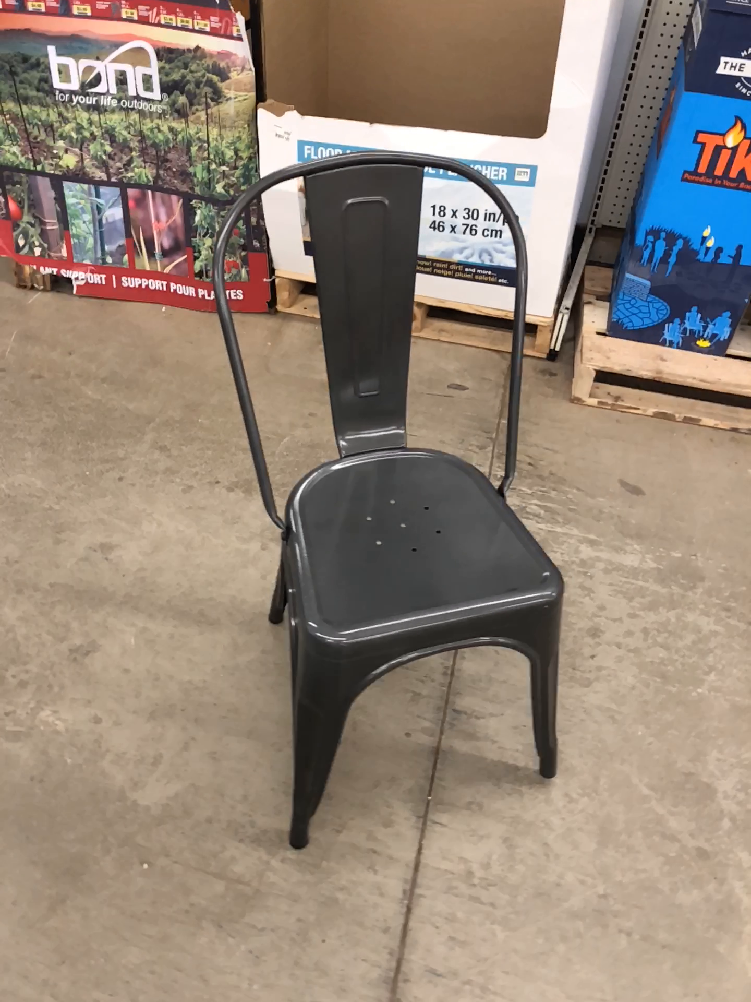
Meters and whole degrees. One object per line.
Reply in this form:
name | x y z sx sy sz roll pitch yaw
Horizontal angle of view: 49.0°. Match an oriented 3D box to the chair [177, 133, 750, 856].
chair | 0.044 0.011 1.152 0.480 0.817 0.502 -10 45 -15
